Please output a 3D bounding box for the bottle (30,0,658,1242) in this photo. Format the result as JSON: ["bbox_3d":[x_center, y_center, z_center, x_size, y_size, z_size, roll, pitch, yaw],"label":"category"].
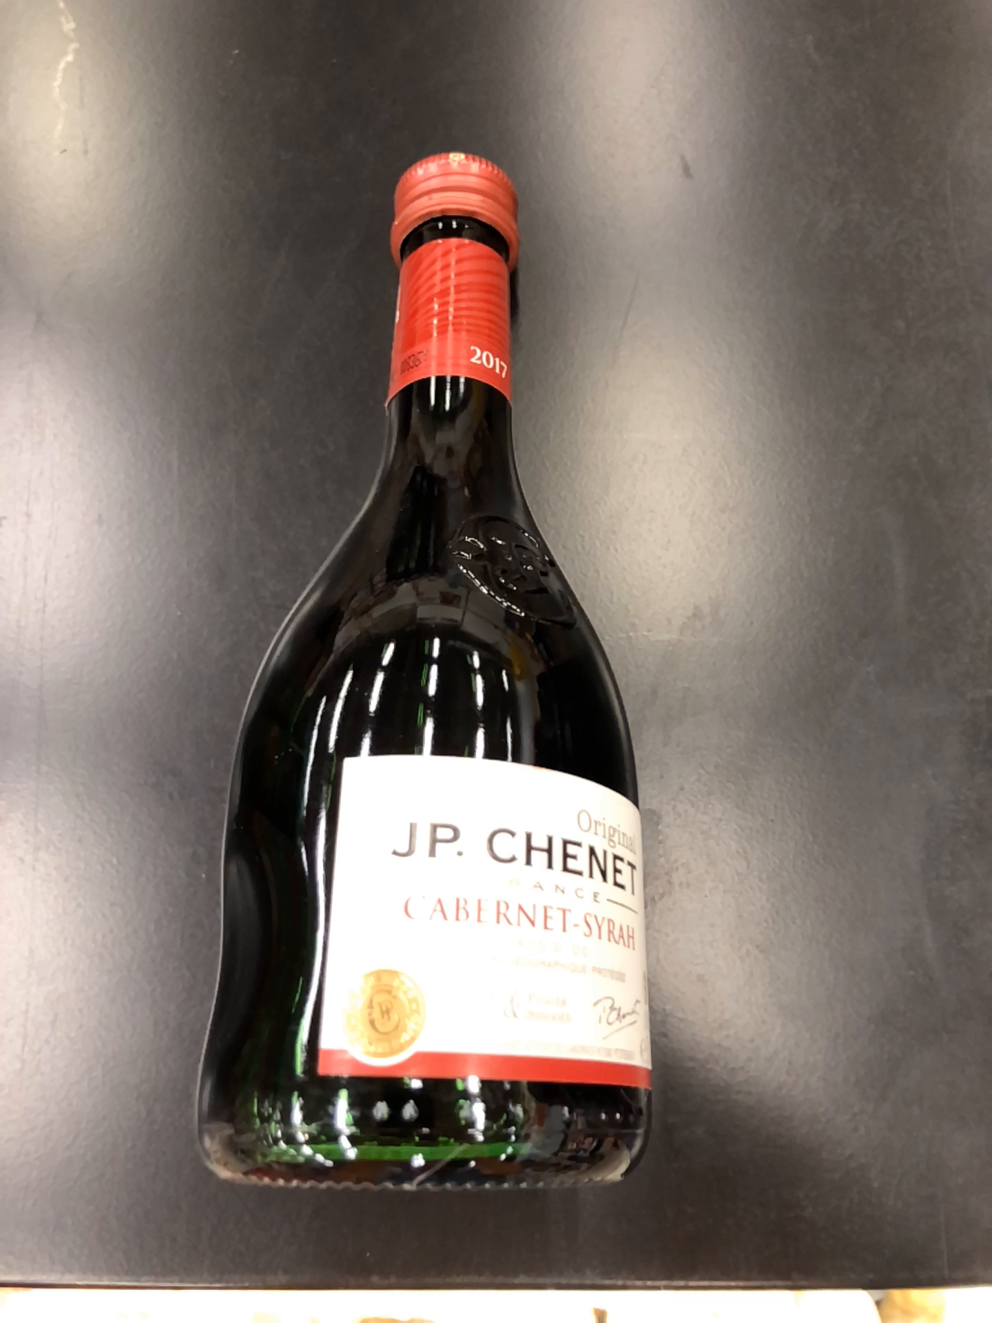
[{"bbox_3d":[-0.014,-0.023,0.182,0.070,0.060,0.200,-1,71,5],"label":"bottle"}]
